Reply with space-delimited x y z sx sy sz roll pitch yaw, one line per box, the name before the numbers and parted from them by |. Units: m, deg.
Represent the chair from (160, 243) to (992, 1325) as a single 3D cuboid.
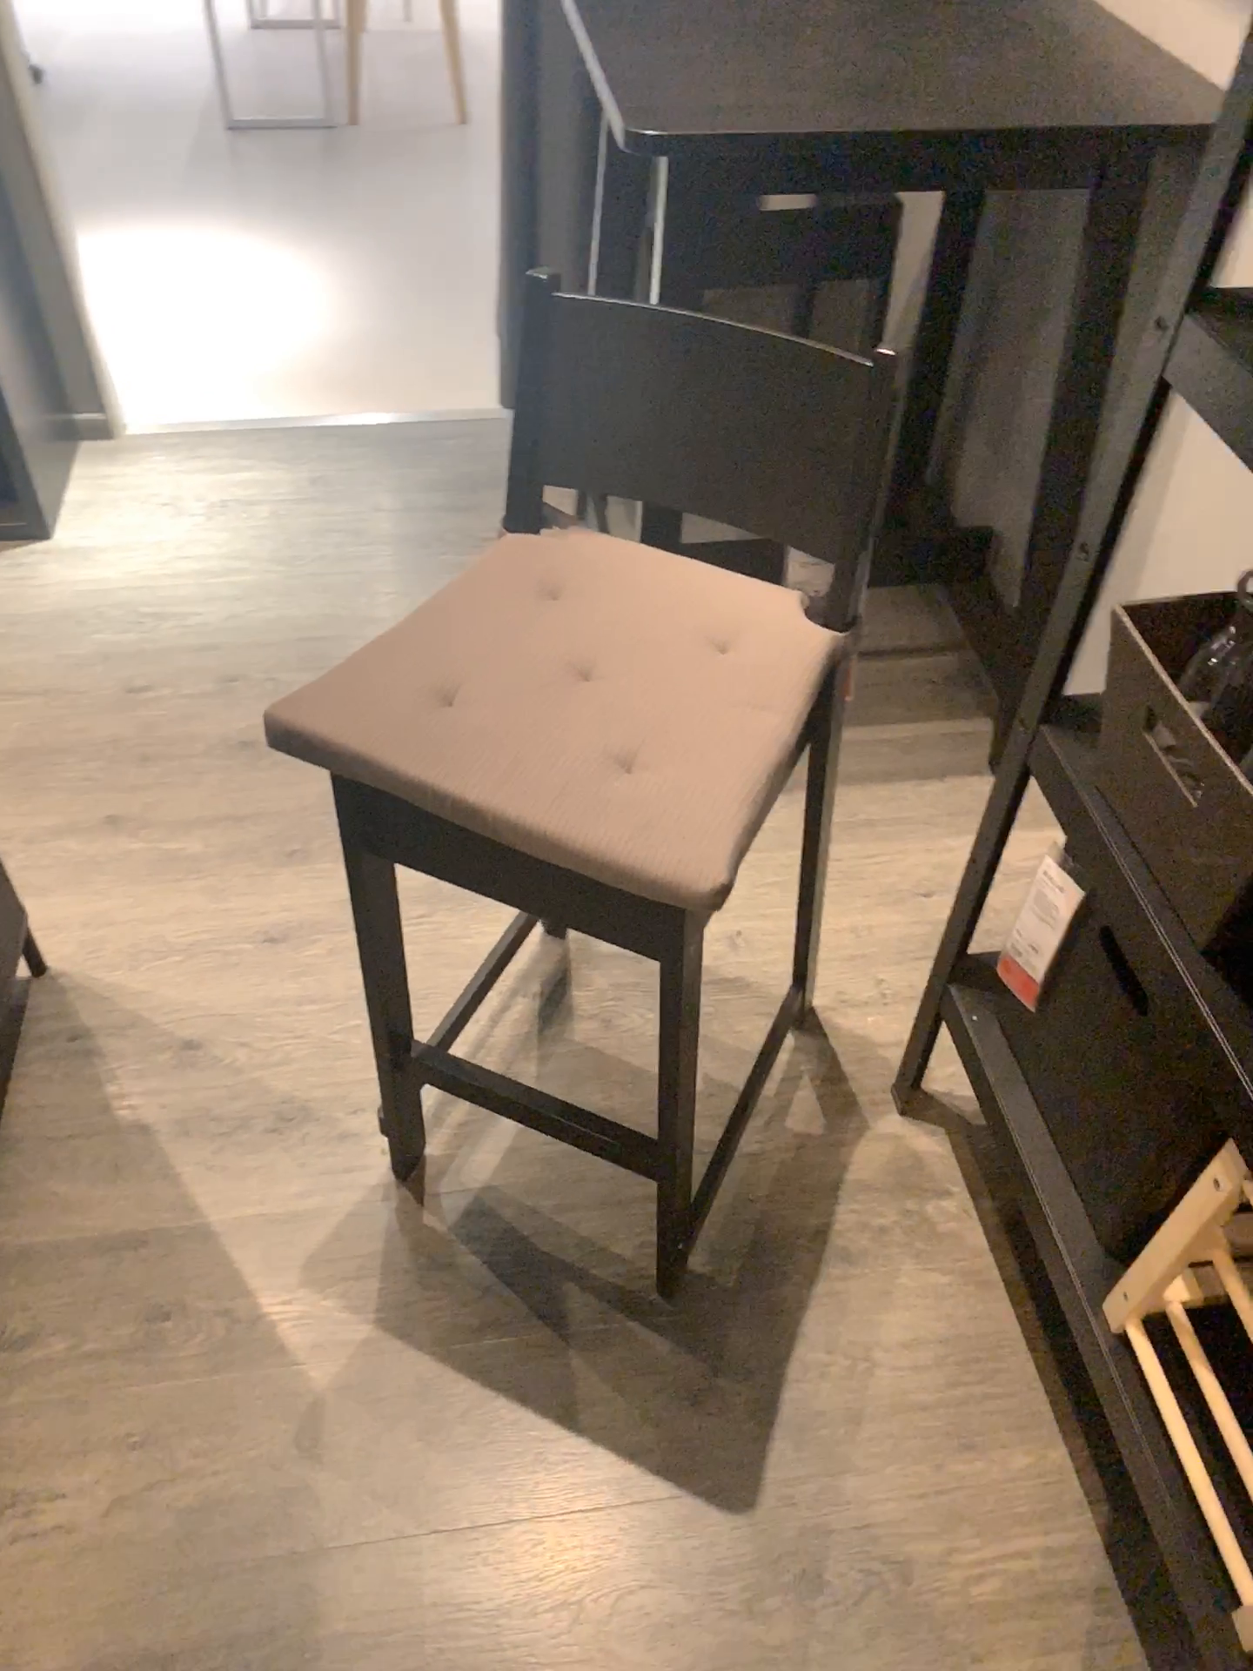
chair | -0.019 -0.012 1.292 0.460 0.887 0.501 19 48 16
